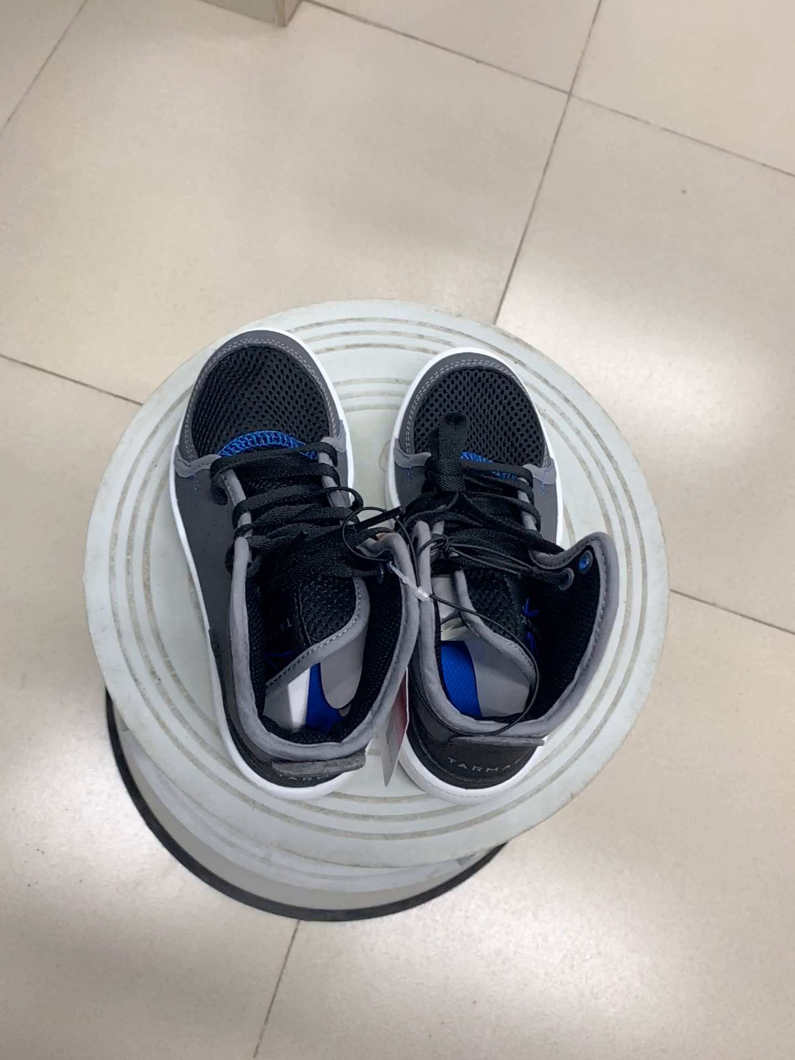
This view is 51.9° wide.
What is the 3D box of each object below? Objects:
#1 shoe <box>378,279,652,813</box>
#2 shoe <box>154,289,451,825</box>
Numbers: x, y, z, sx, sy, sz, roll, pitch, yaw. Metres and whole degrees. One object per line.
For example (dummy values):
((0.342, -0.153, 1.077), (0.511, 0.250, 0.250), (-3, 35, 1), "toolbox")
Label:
((0.039, 0.016, 0.355), (0.080, 0.120, 0.200), (3, 72, -6), "shoe")
((-0.046, 0.014, 0.353), (0.090, 0.100, 0.200), (-6, 73, -9), "shoe")
